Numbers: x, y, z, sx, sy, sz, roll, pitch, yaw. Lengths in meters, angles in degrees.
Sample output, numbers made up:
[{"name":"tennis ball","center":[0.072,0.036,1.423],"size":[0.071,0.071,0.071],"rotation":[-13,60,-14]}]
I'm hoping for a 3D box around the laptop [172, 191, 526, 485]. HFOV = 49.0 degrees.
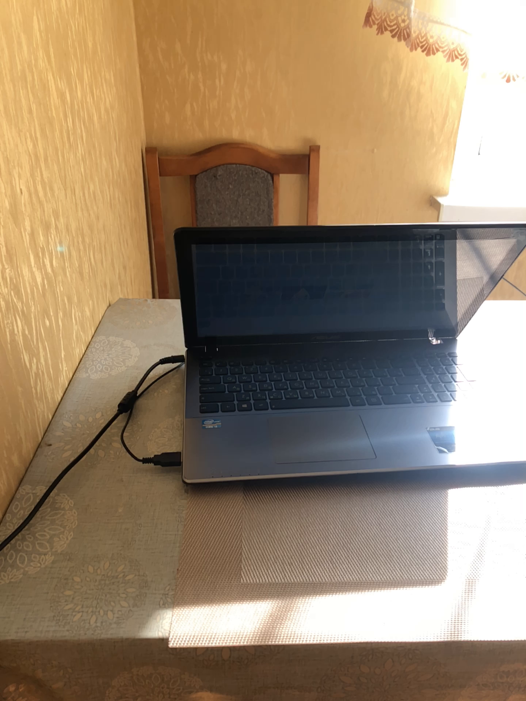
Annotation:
[{"name":"laptop","center":[0.097,-0.033,0.617],"size":[0.364,0.197,0.241],"rotation":[-3,31,-6]}]
